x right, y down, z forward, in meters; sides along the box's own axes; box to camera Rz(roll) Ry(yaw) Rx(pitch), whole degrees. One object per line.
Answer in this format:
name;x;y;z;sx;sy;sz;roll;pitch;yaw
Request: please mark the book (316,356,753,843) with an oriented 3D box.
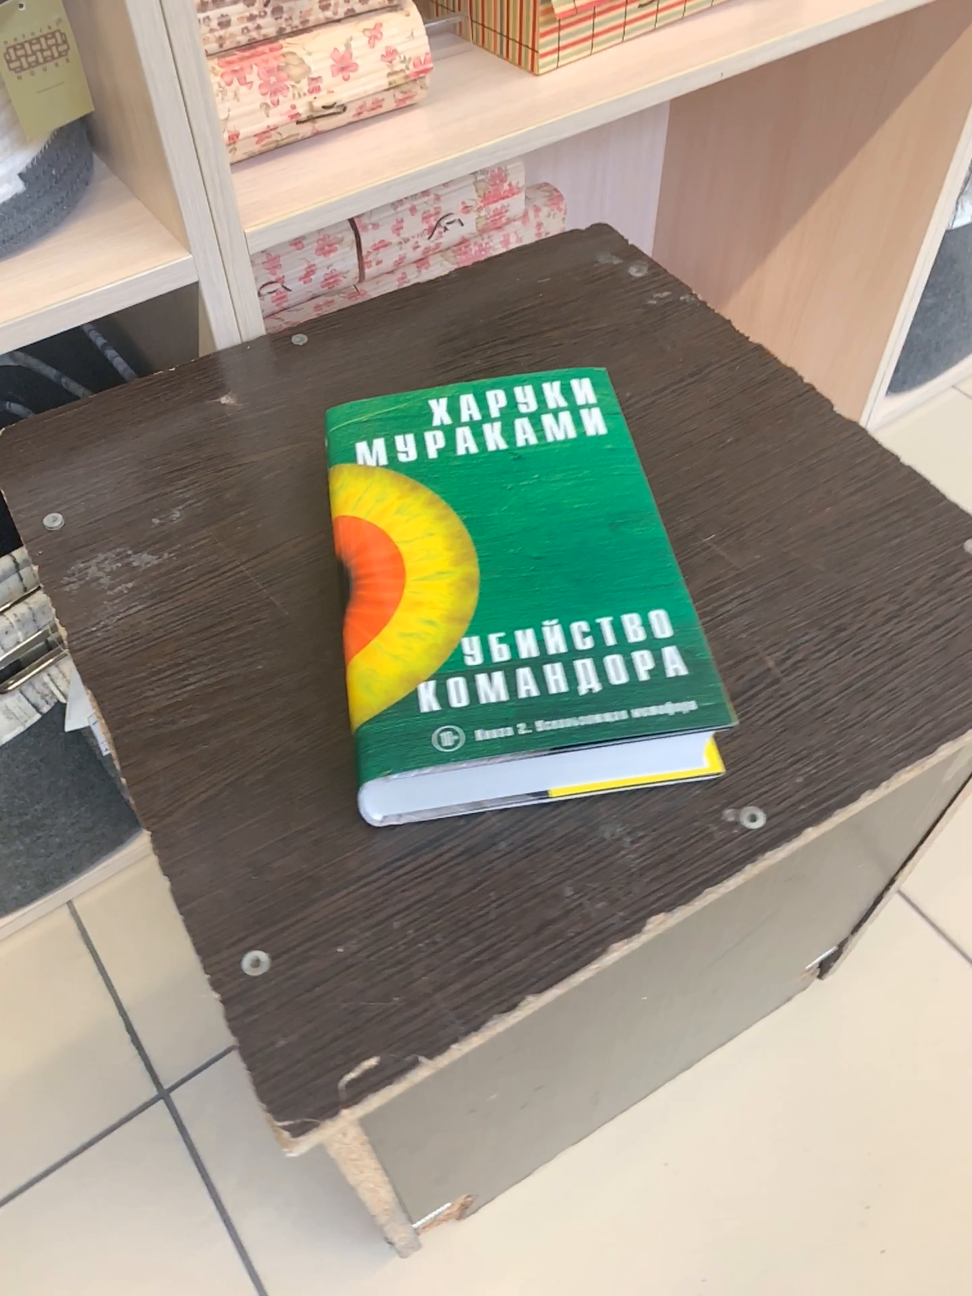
book;0.009;-0.034;0.447;0.150;0.050;0.217;-8;55;-5
